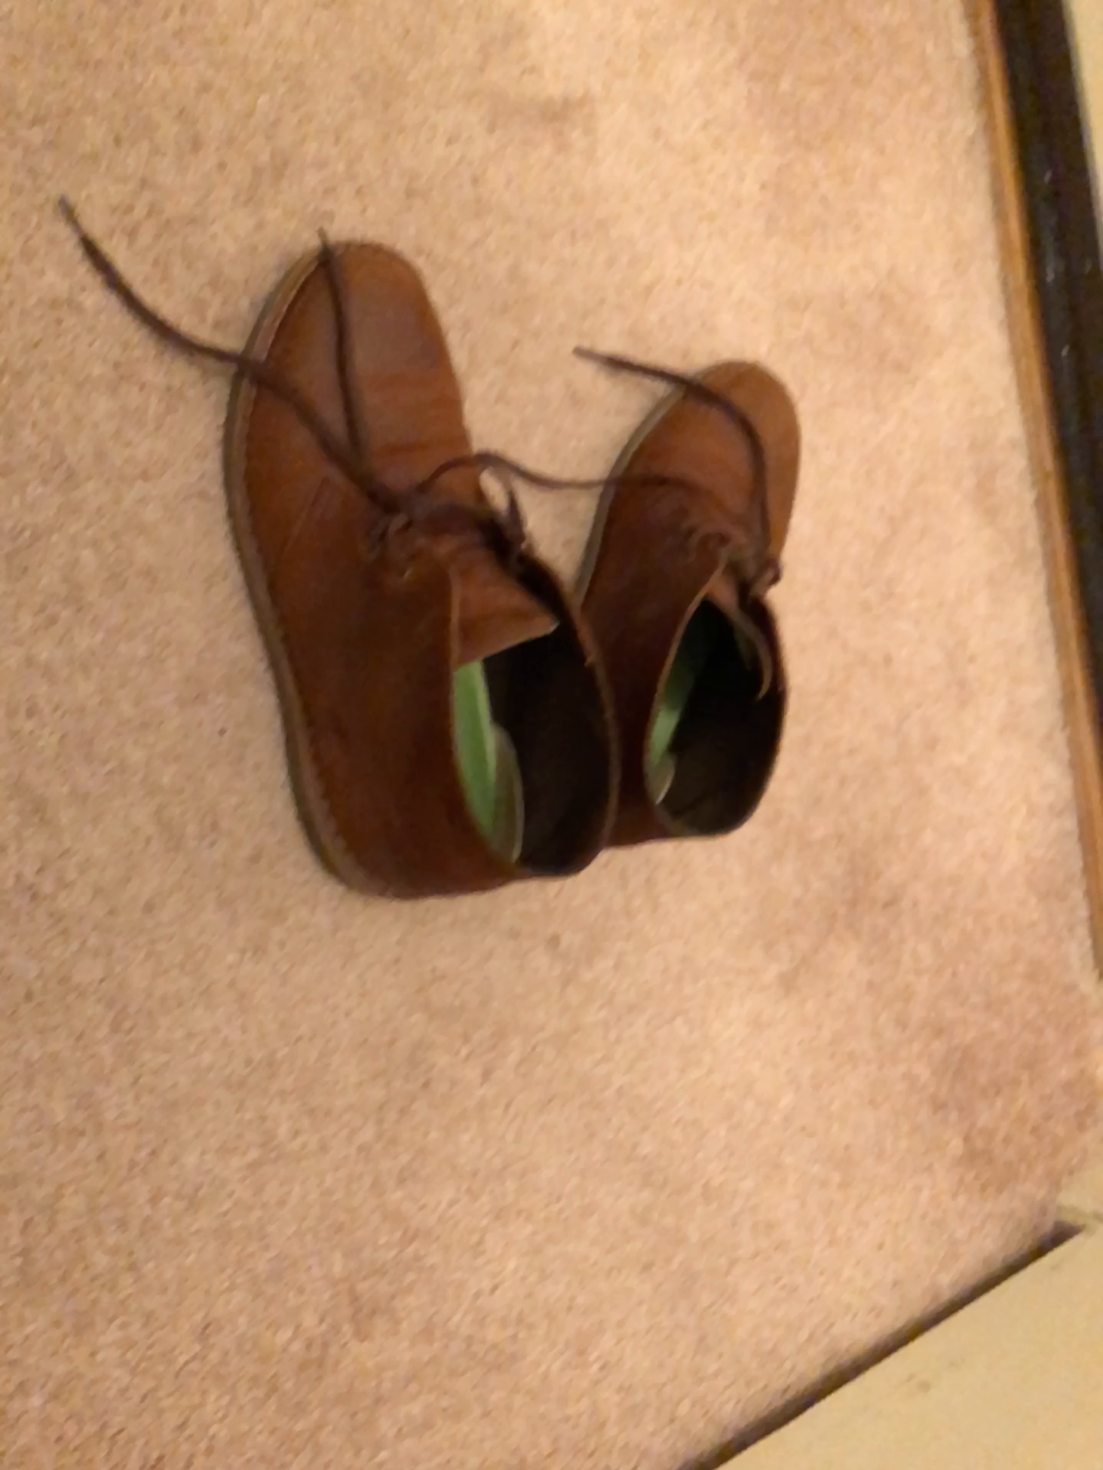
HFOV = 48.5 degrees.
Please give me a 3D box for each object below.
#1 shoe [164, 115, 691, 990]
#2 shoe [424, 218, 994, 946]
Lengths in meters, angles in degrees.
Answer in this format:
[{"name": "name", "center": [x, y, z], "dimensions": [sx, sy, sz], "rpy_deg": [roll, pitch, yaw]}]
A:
[{"name": "shoe", "center": [-0.055, -0.068, 0.507], "dimensions": [0.111, 0.138, 0.303], "rpy_deg": [-14, 96, -31]}, {"name": "shoe", "center": [0.077, -0.069, 0.588], "dimensions": [0.110, 0.138, 0.304], "rpy_deg": [32, 72, -26]}]
